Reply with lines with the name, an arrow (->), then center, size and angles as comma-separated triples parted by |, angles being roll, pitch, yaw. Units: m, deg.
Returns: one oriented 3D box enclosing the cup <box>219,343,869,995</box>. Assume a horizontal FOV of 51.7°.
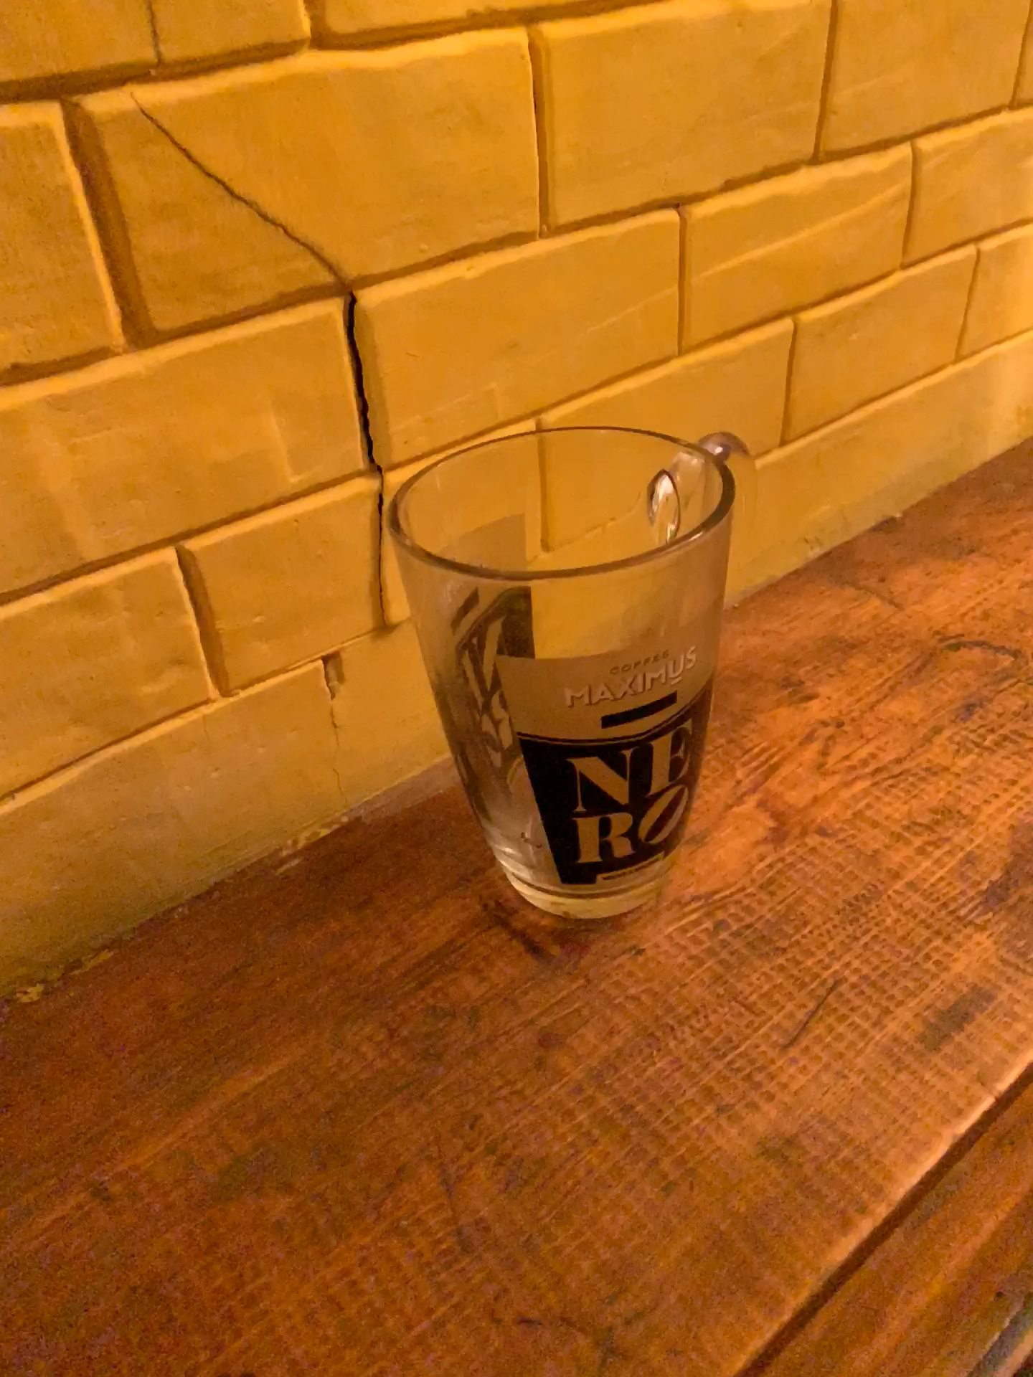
cup -> 0.011, -0.015, 0.280 | 0.125, 0.098, 0.094 | -33, 46, -33
